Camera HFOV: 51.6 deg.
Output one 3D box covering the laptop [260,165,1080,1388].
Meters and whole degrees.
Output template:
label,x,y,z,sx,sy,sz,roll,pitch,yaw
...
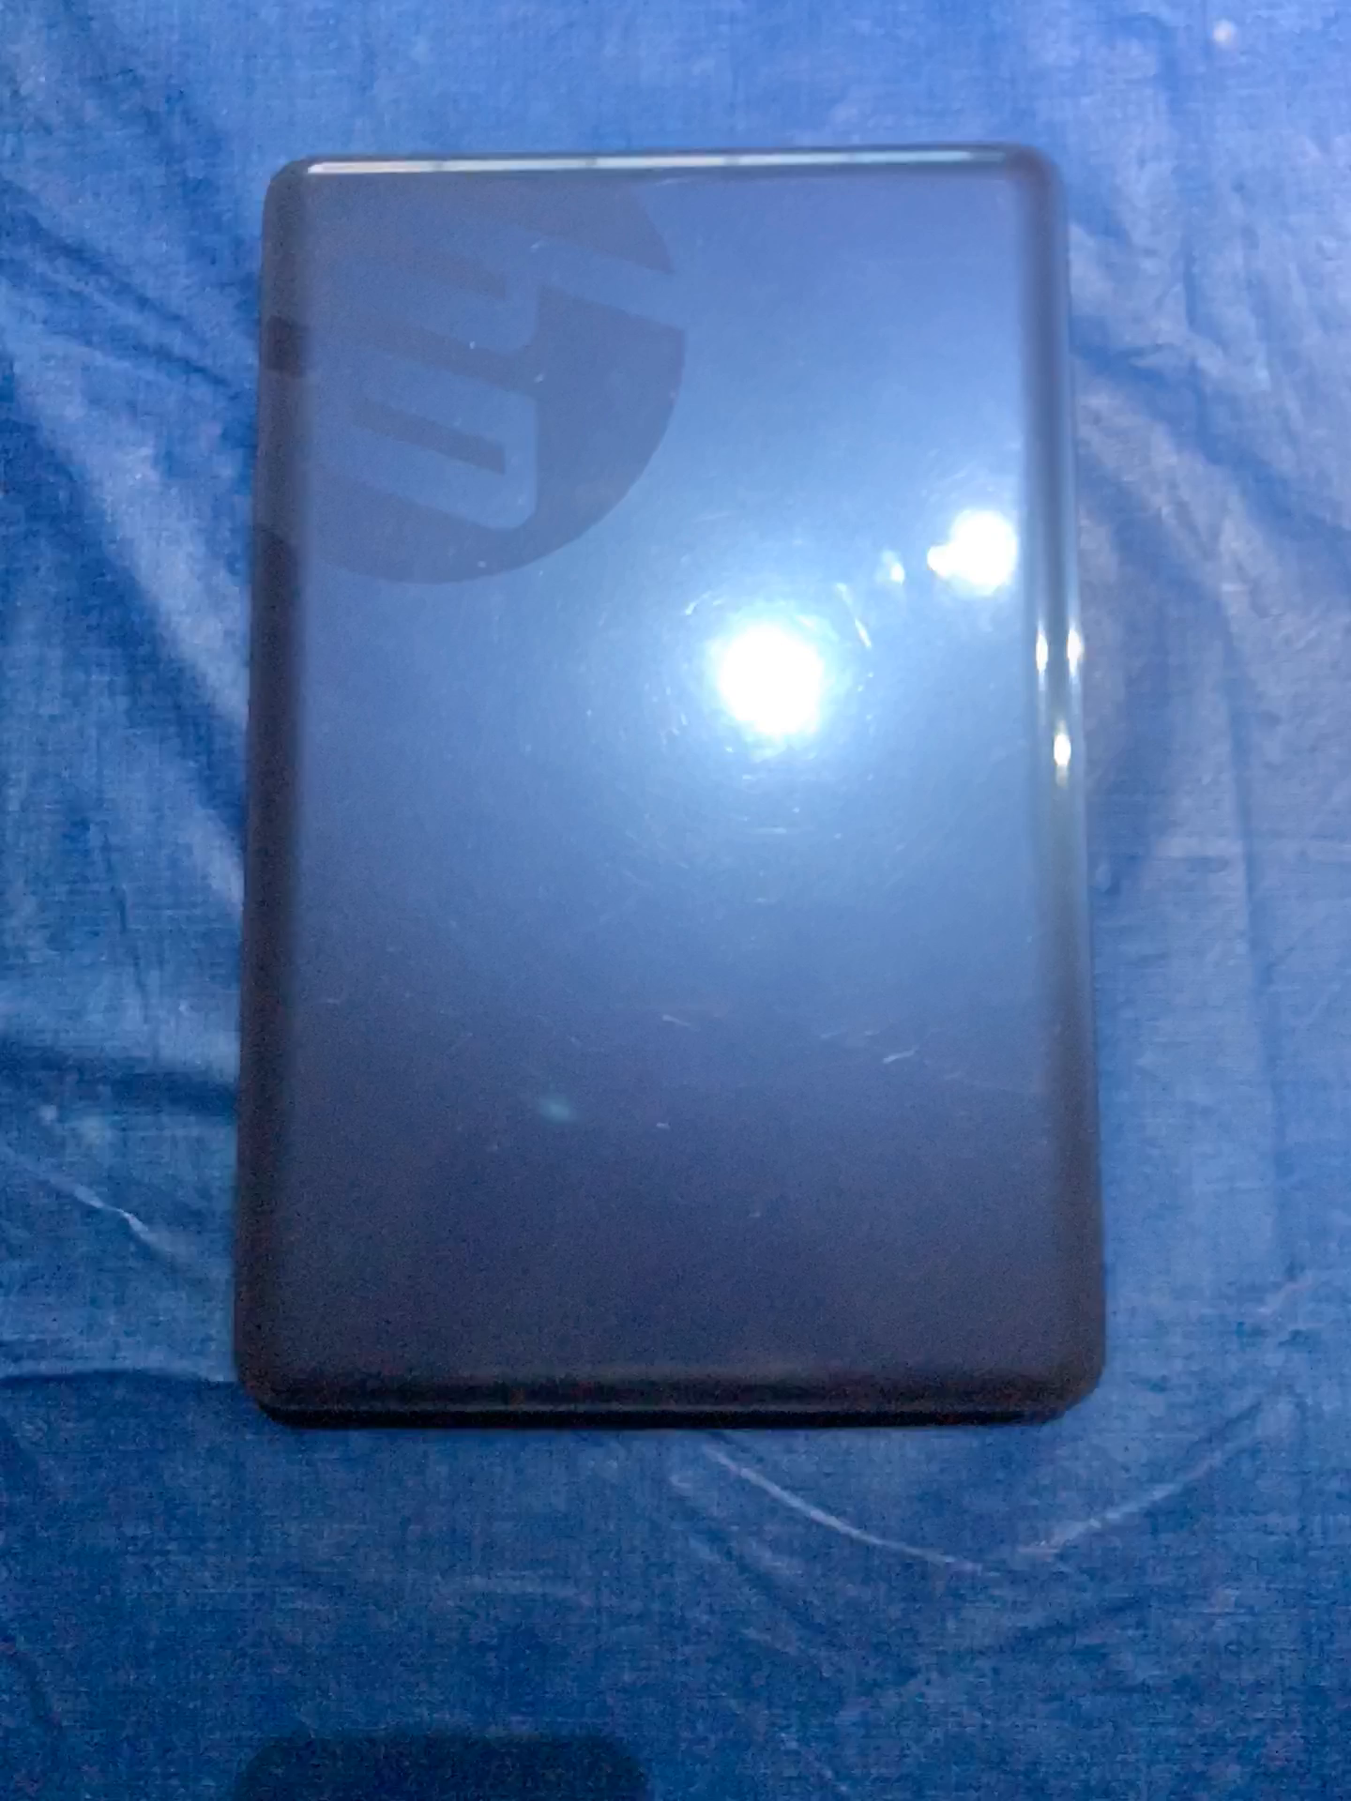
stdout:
label,x,y,z,sx,sy,sz,roll,pitch,yaw
laptop,-0.003,-0.042,0.419,0.235,0.009,0.363,0,86,1
